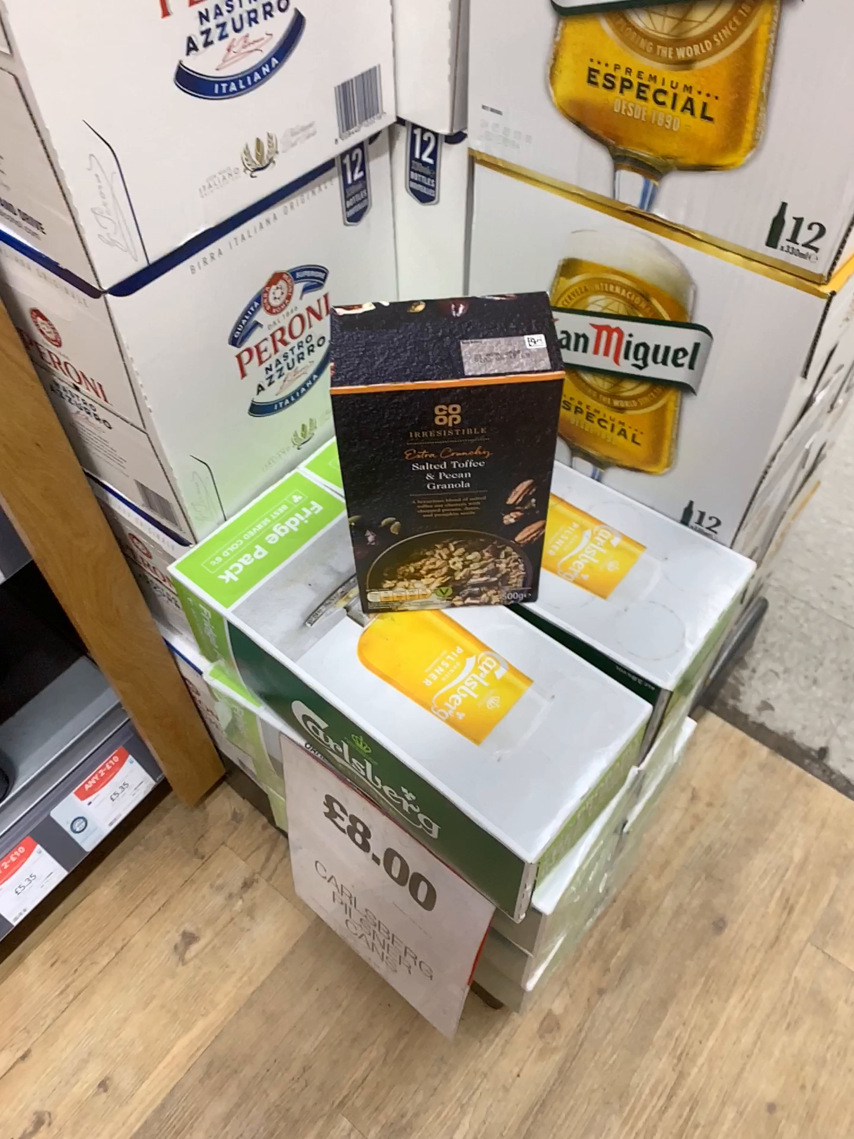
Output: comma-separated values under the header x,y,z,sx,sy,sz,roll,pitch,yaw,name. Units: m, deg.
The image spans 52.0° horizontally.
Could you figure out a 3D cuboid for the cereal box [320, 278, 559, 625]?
x,y,z,sx,sy,sz,roll,pitch,yaw,name
0.006,-0.063,0.545,0.120,0.208,0.081,-4,52,-1,cereal box
